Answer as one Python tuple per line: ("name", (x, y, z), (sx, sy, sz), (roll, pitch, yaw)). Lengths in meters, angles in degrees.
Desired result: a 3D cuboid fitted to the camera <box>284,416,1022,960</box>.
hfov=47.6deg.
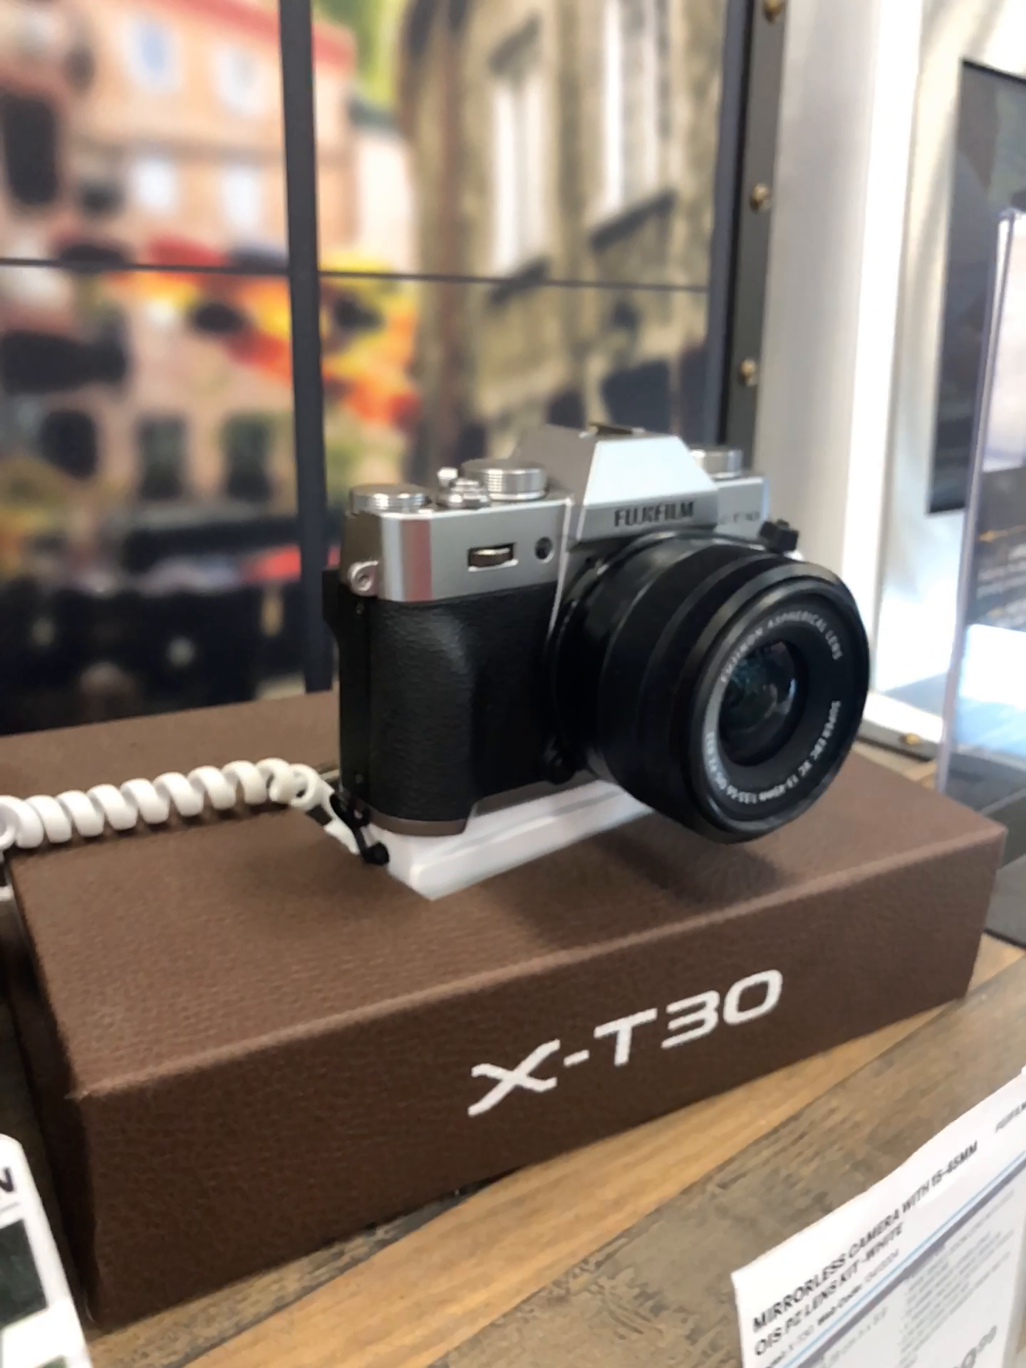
("camera", (0.029, -0.013, 0.260), (0.130, 0.080, 0.090), (-11, 22, -35))
